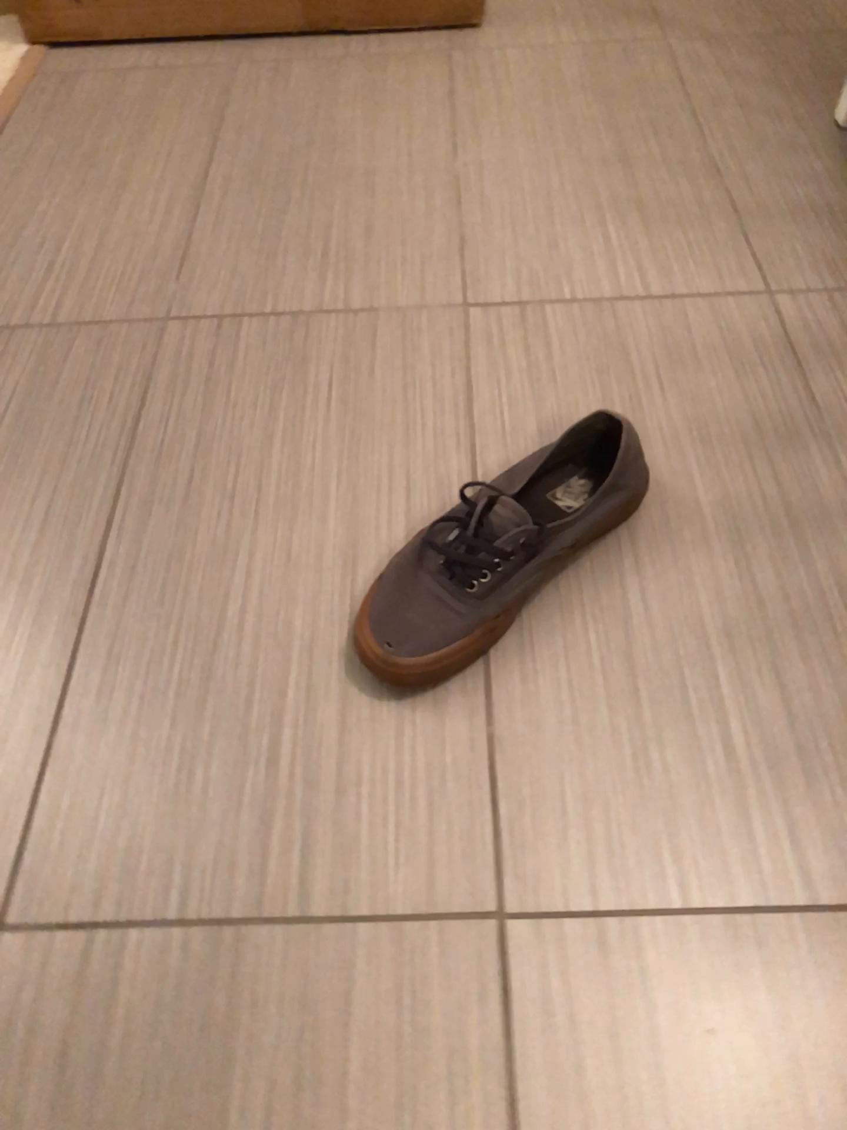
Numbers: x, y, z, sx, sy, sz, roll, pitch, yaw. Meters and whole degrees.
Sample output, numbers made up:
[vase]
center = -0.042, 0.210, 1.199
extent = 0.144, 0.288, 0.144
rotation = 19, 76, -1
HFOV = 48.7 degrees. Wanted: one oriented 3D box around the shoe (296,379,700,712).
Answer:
[shoe]
center = 0.061, -0.026, 0.693
extent = 0.291, 0.060, 0.110
rotation = -33, 56, -23
